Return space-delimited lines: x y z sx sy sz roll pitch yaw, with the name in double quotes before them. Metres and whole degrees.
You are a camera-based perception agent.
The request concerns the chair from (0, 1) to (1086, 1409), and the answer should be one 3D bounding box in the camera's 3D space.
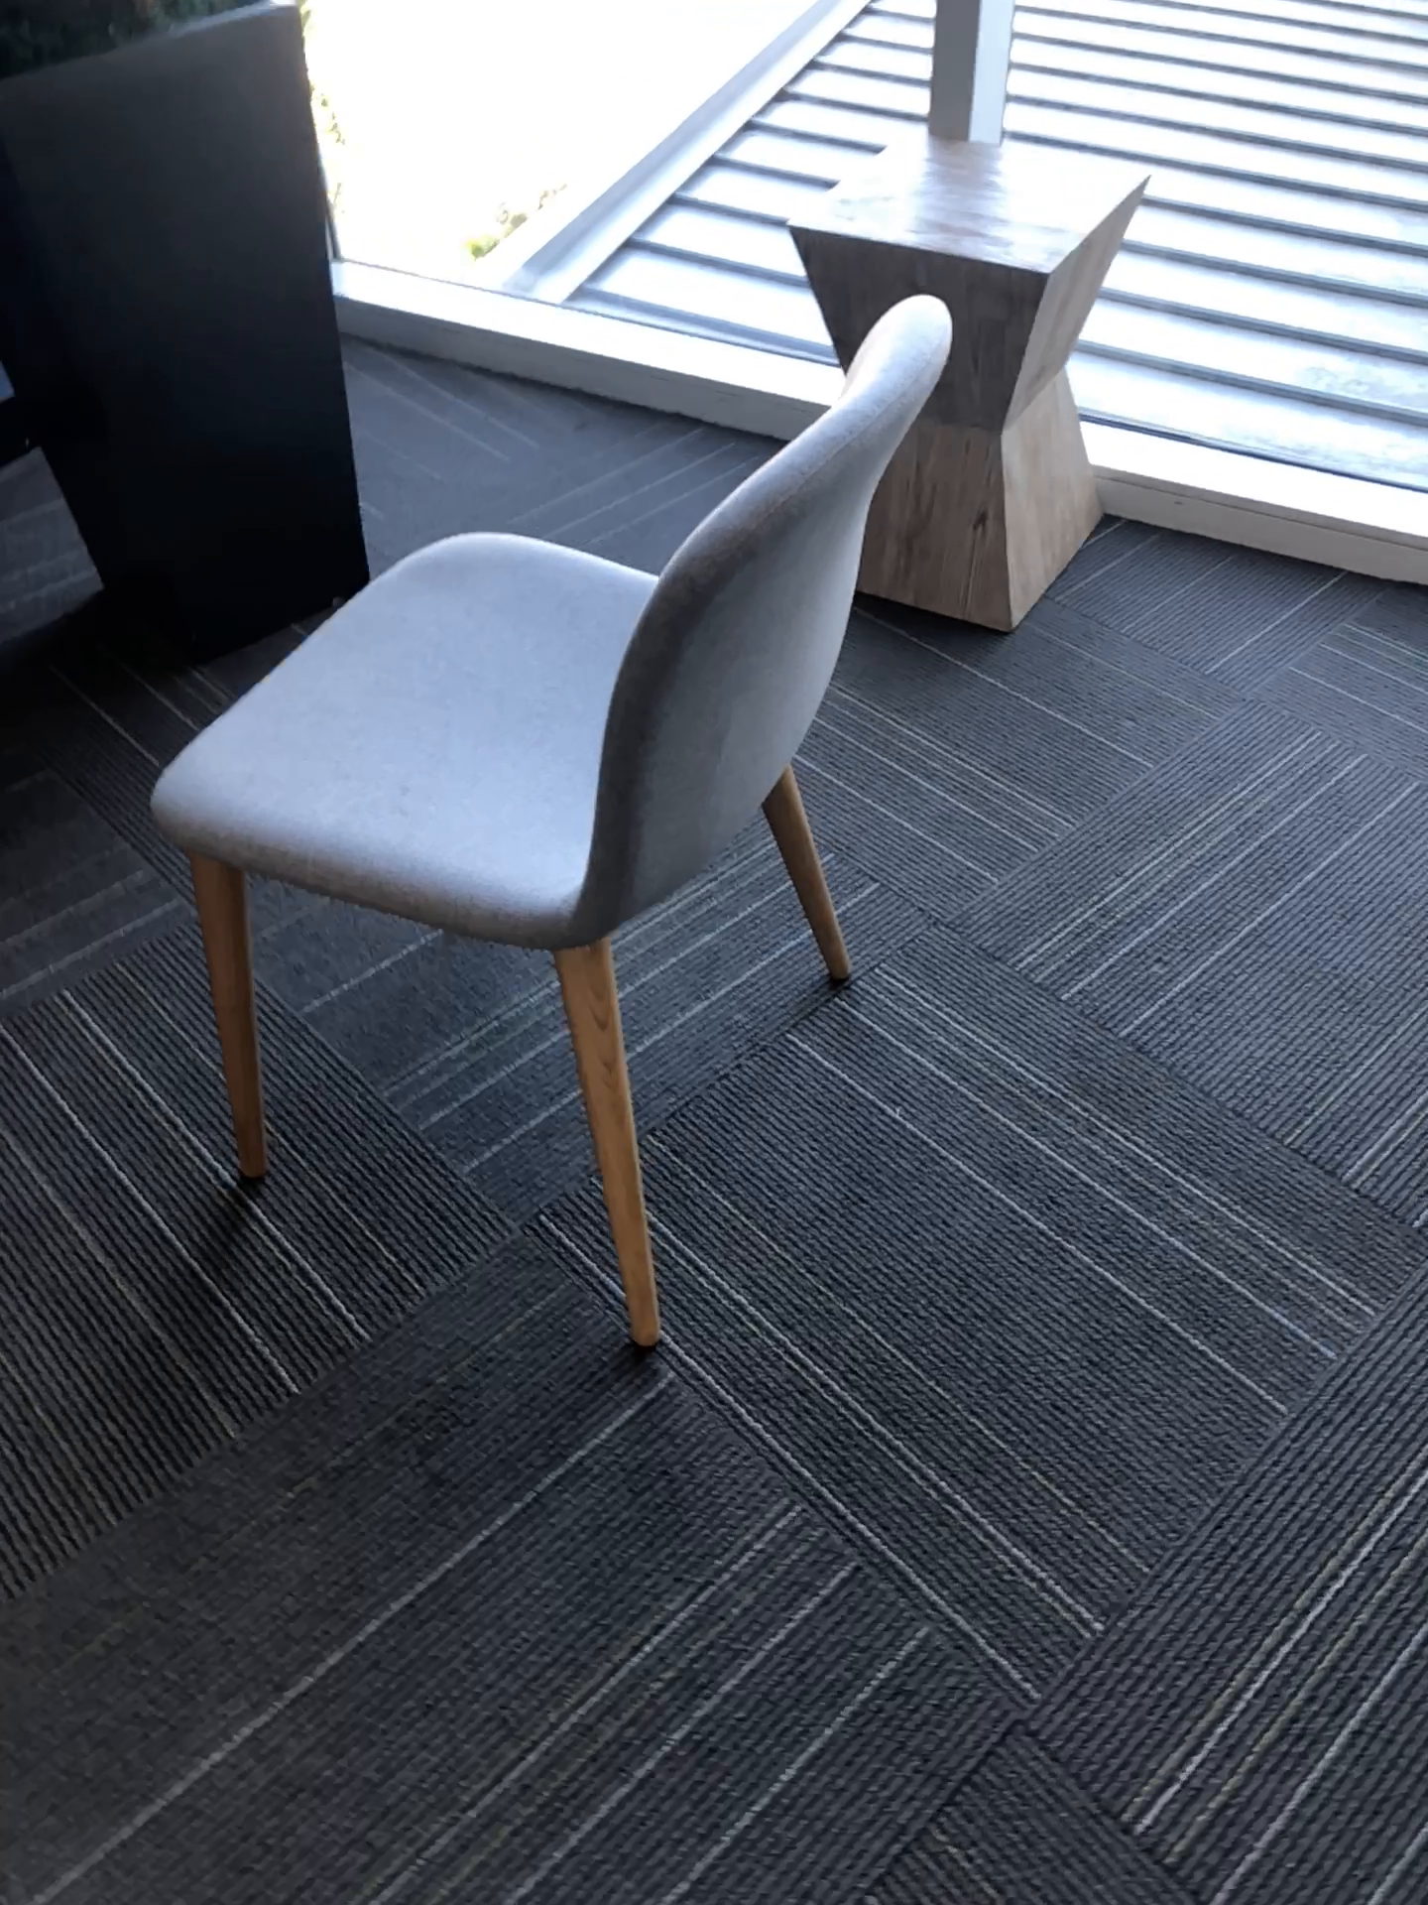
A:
"chair" -0.151 -0.192 1.296 0.611 0.846 0.562 20 48 17
